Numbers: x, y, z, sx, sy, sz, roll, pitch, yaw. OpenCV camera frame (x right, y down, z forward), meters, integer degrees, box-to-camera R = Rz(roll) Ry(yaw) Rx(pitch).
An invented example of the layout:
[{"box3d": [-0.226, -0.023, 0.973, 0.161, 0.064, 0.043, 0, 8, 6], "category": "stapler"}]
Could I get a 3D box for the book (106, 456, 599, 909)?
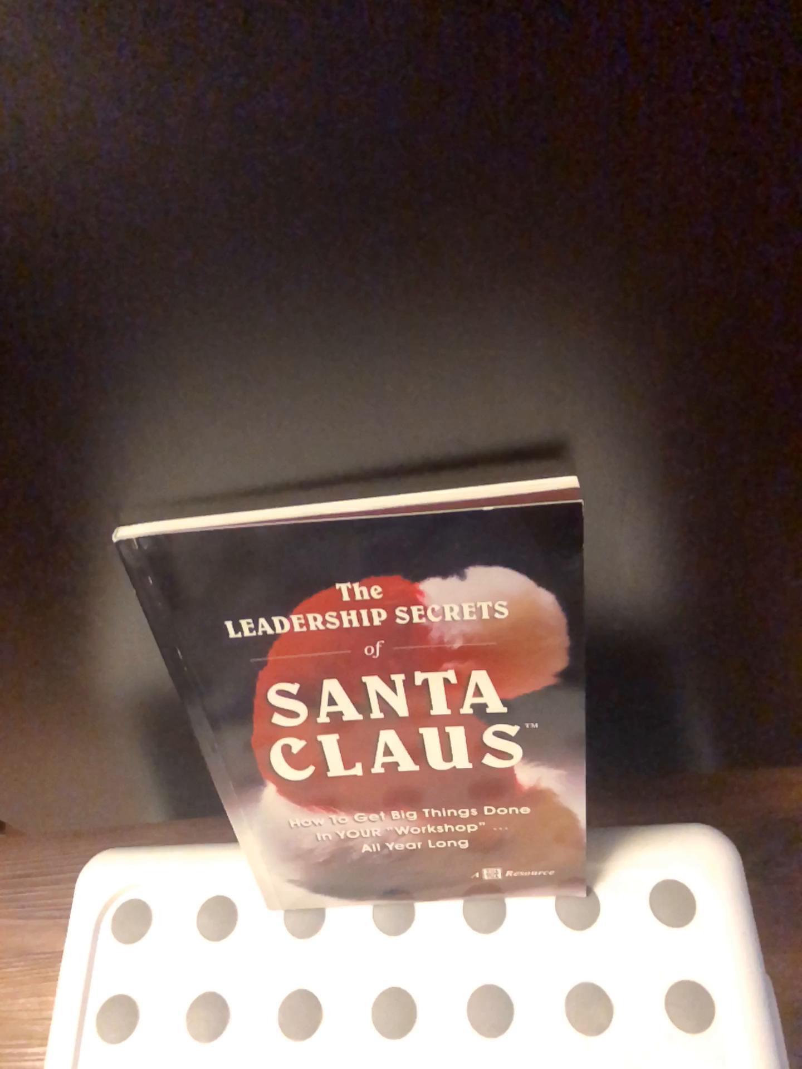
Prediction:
[{"box3d": [-0.003, 0.076, 0.354, 0.160, 0.225, 0.010, -6, 36, 5], "category": "book"}]
